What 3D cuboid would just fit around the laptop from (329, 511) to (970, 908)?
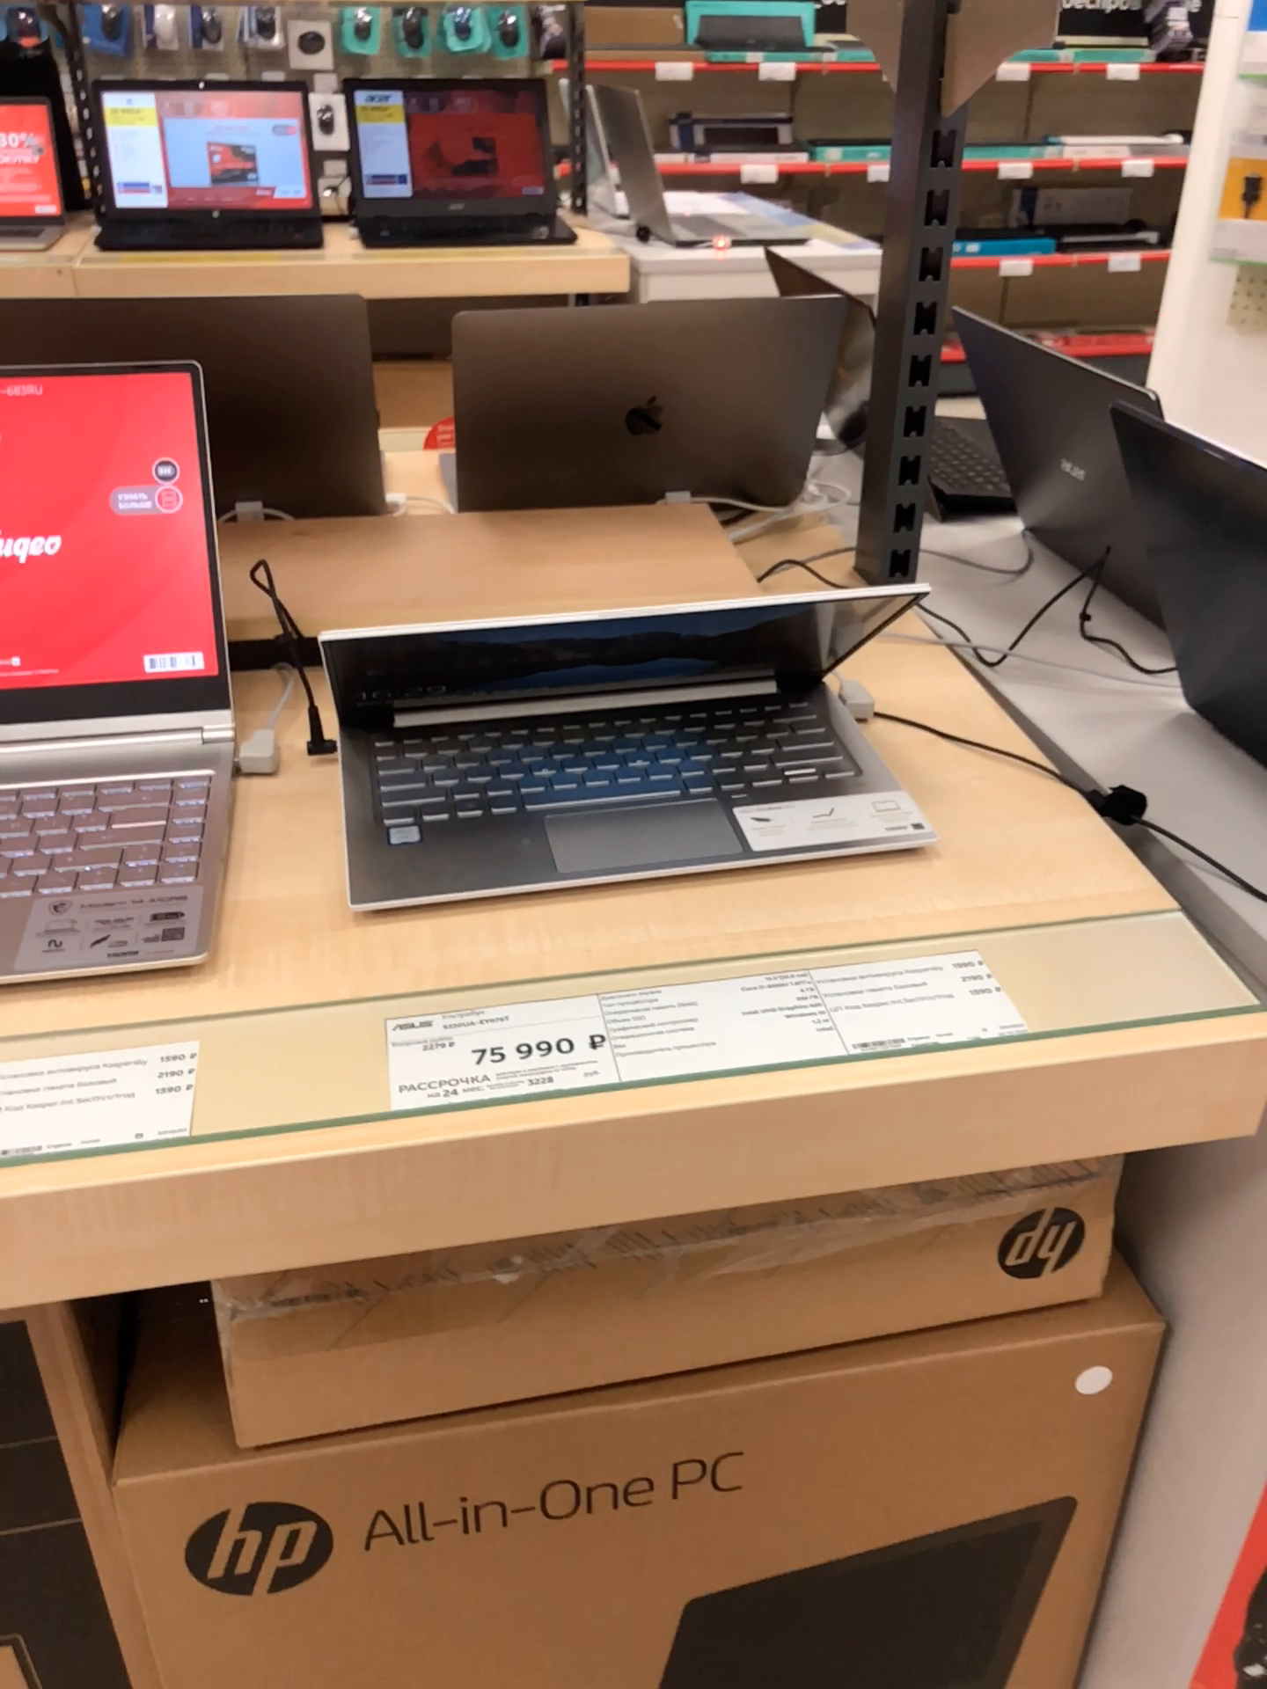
[{"bbox_3d":[-0.006,-0.087,0.778,0.309,0.119,0.197,-6,30,-10],"label":"laptop"}]
